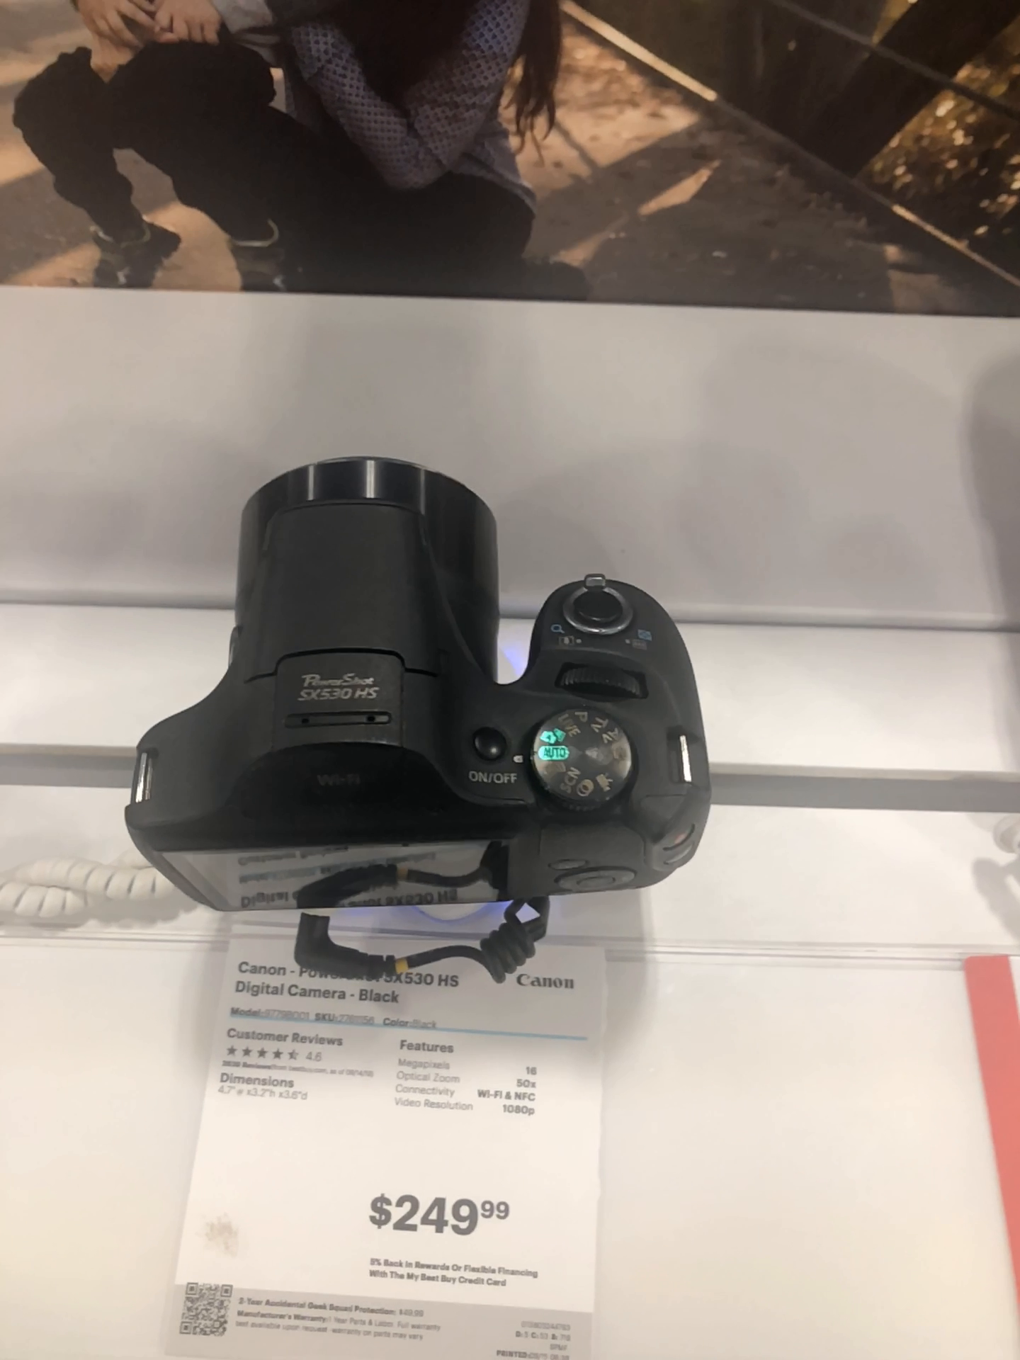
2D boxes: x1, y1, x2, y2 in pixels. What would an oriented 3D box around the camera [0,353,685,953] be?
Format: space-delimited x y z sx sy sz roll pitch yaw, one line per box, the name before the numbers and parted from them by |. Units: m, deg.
camera | -0.032 -0.004 0.252 0.120 0.070 0.110 -2 67 -1
